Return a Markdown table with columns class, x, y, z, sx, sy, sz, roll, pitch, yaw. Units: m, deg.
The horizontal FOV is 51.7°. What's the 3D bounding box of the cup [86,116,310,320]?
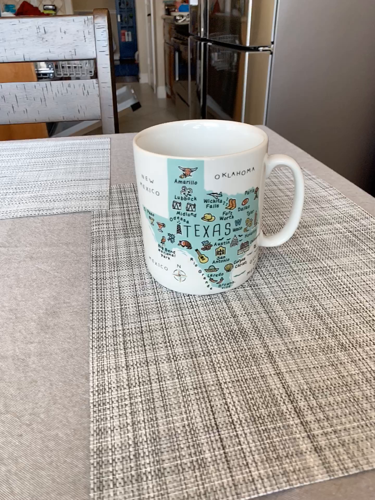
| class | x | y | z | sx | sy | sz | roll | pitch | yaw |
| --- | --- | --- | --- | --- | --- | --- | --- | --- | --- |
| cup | 0.012 | -0.033 | 0.341 | 0.150 | 0.136 | 0.112 | 3 | 32 | 6 |
